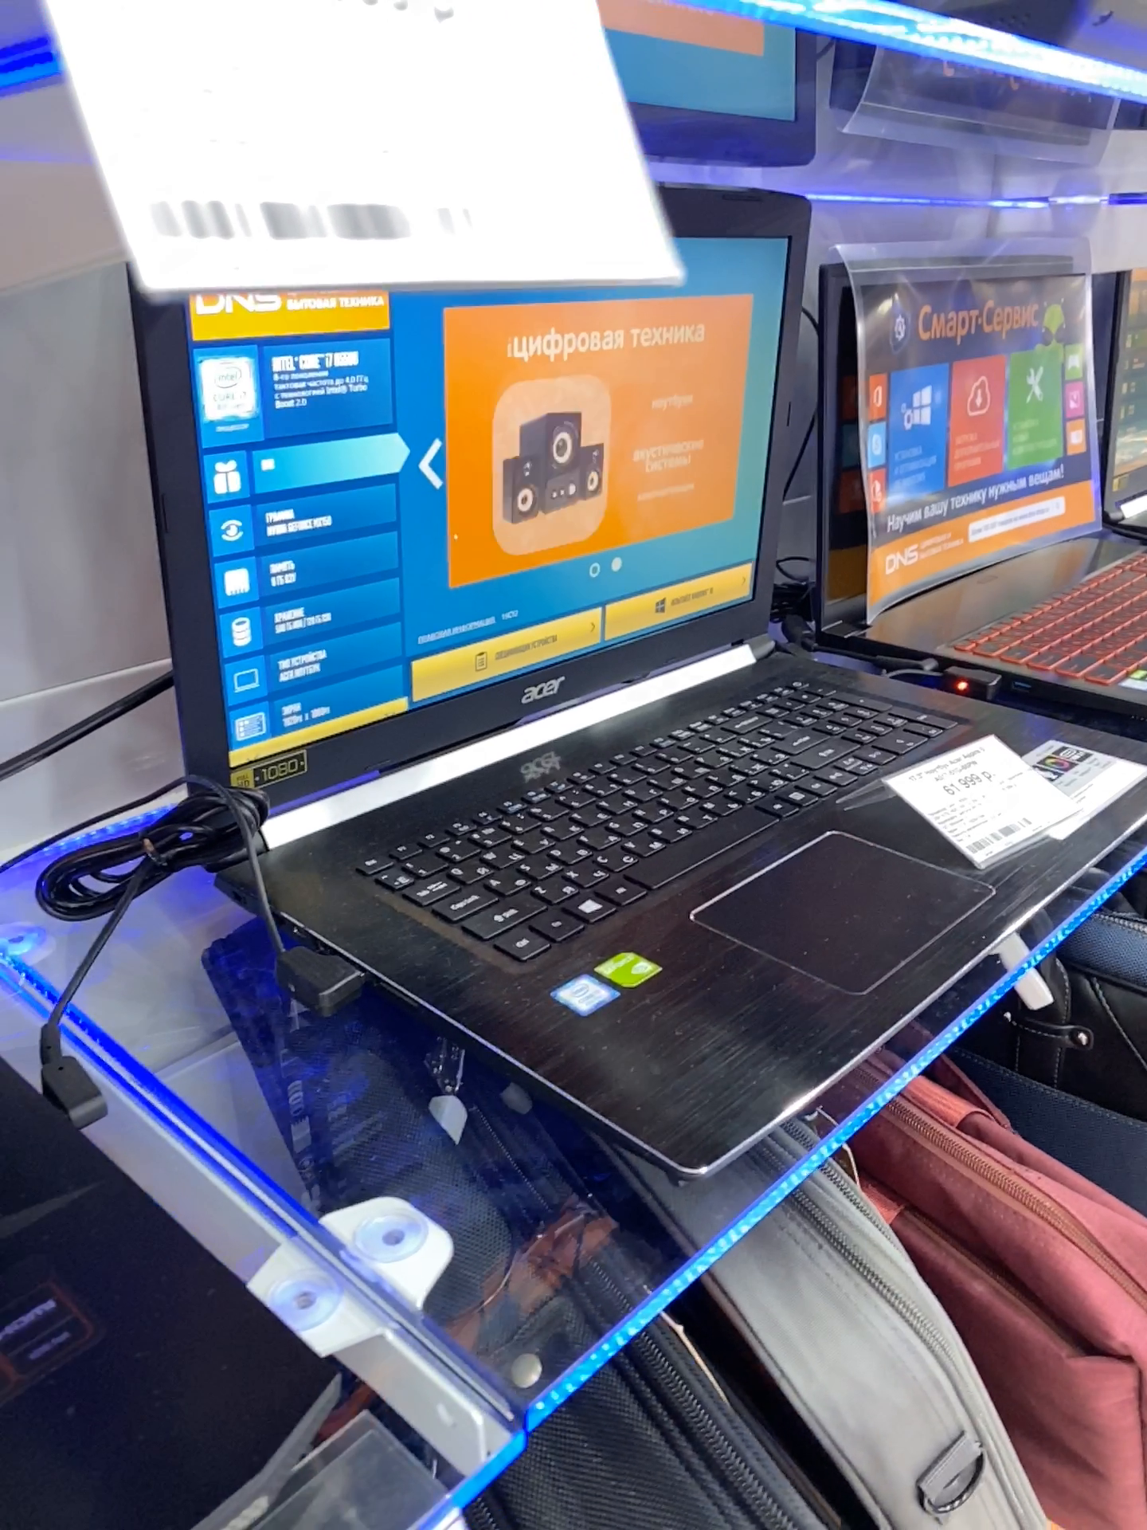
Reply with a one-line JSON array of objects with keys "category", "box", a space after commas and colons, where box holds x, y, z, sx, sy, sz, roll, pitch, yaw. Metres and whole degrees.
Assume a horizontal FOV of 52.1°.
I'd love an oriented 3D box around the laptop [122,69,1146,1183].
[{"category": "laptop", "box": [0.086, -0.103, 0.512, 0.273, 0.277, 0.422, 20, 30, 40]}]
